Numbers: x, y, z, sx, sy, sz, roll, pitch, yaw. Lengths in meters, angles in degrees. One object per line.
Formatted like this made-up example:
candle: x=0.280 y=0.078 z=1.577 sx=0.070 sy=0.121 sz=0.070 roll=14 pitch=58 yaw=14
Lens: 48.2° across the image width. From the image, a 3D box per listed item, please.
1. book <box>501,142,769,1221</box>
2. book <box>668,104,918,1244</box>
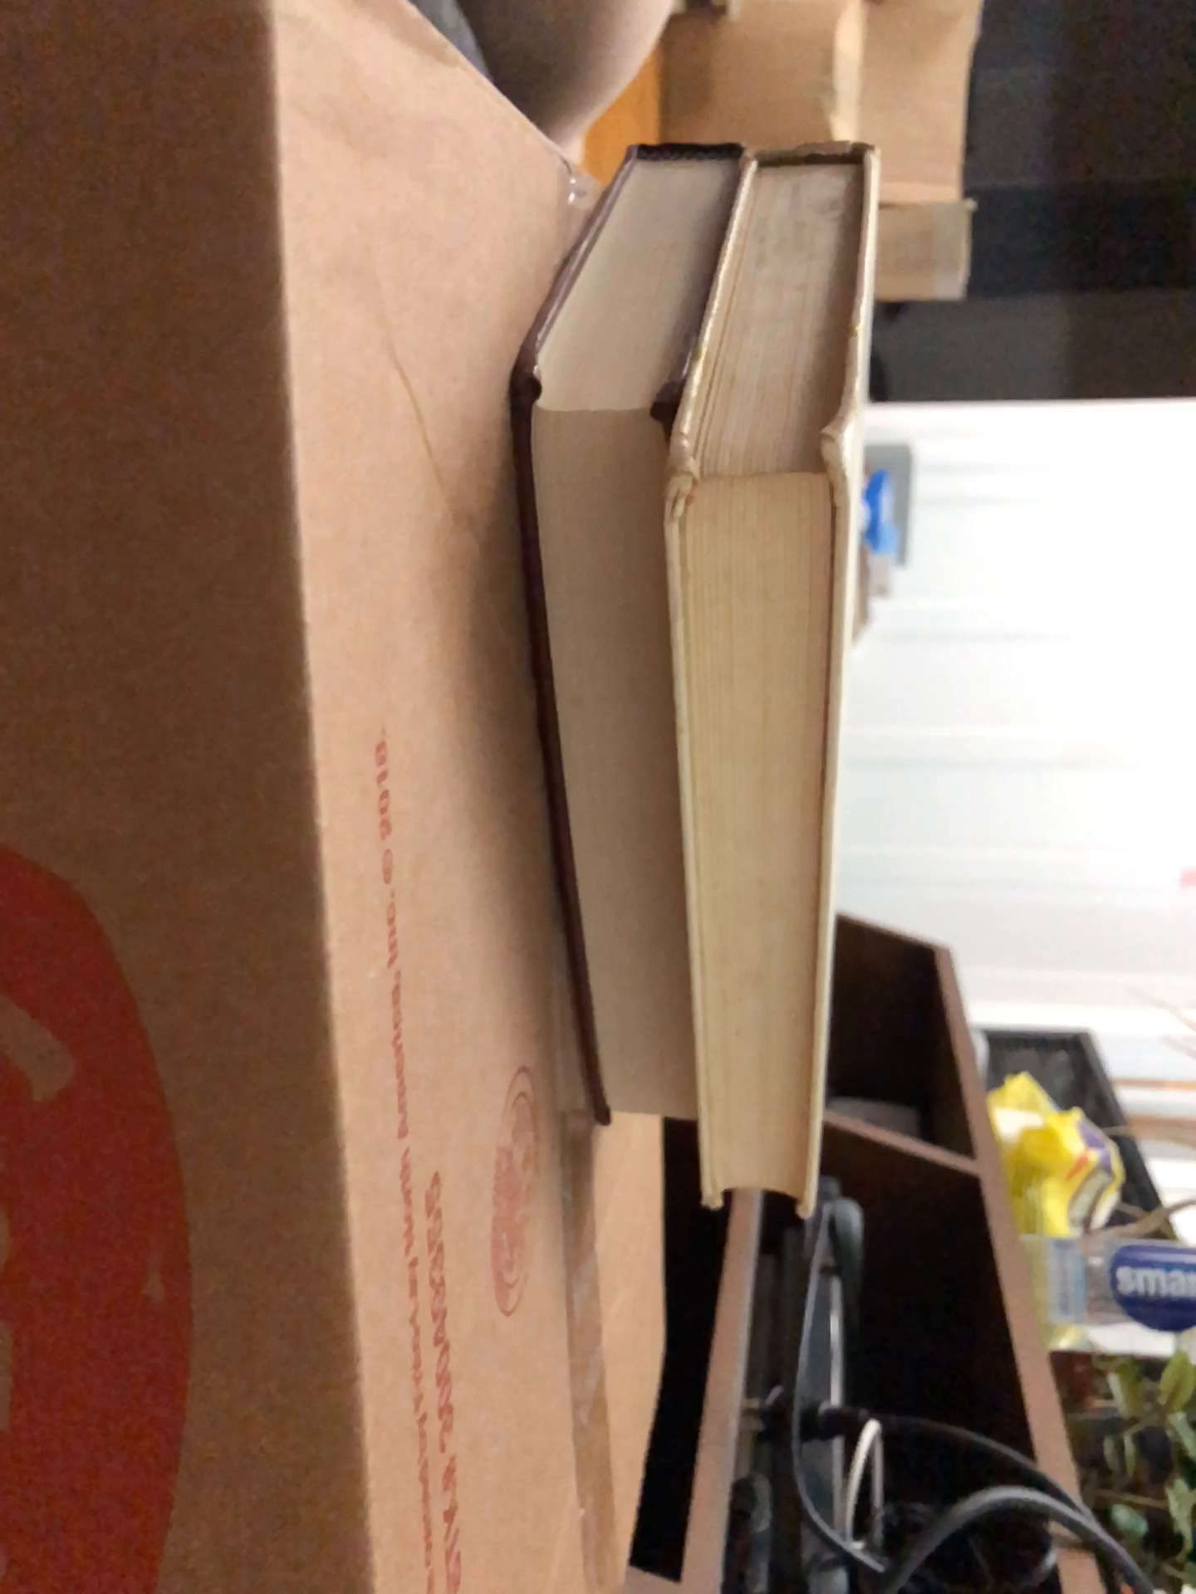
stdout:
book: x=0.021 y=-0.030 z=0.385 sx=0.180 sy=0.040 sz=0.250 roll=-77 pitch=167 yaw=-50
book: x=0.051 y=-0.027 z=0.365 sx=0.180 sy=0.040 sz=0.250 roll=-78 pitch=168 yaw=-47
